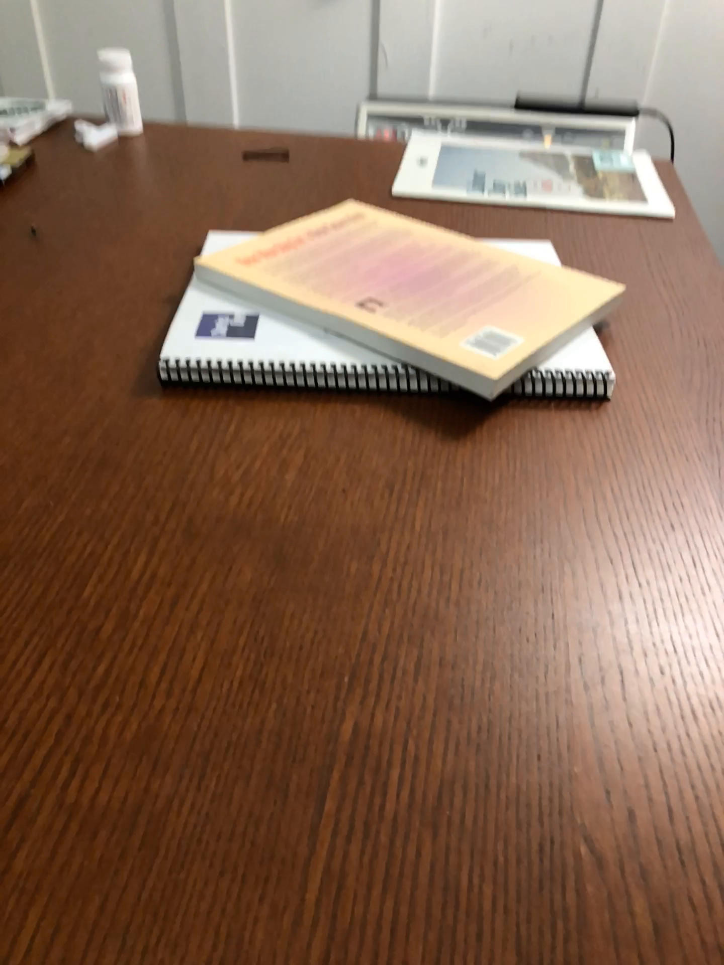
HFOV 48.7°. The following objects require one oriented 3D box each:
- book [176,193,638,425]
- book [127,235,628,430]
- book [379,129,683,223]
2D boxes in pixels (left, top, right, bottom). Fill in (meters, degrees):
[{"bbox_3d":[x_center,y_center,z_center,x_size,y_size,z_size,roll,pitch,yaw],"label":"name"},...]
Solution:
[{"bbox_3d":[0.030,-0.139,0.563,0.261,0.020,0.191,28,45,28],"label":"book"},{"bbox_3d":[0.009,-0.115,0.559,0.290,0.020,0.232,1,39,-1],"label":"book"},{"bbox_3d":[0.163,-0.312,0.799,0.270,0.010,0.201,6,39,5],"label":"book"}]
